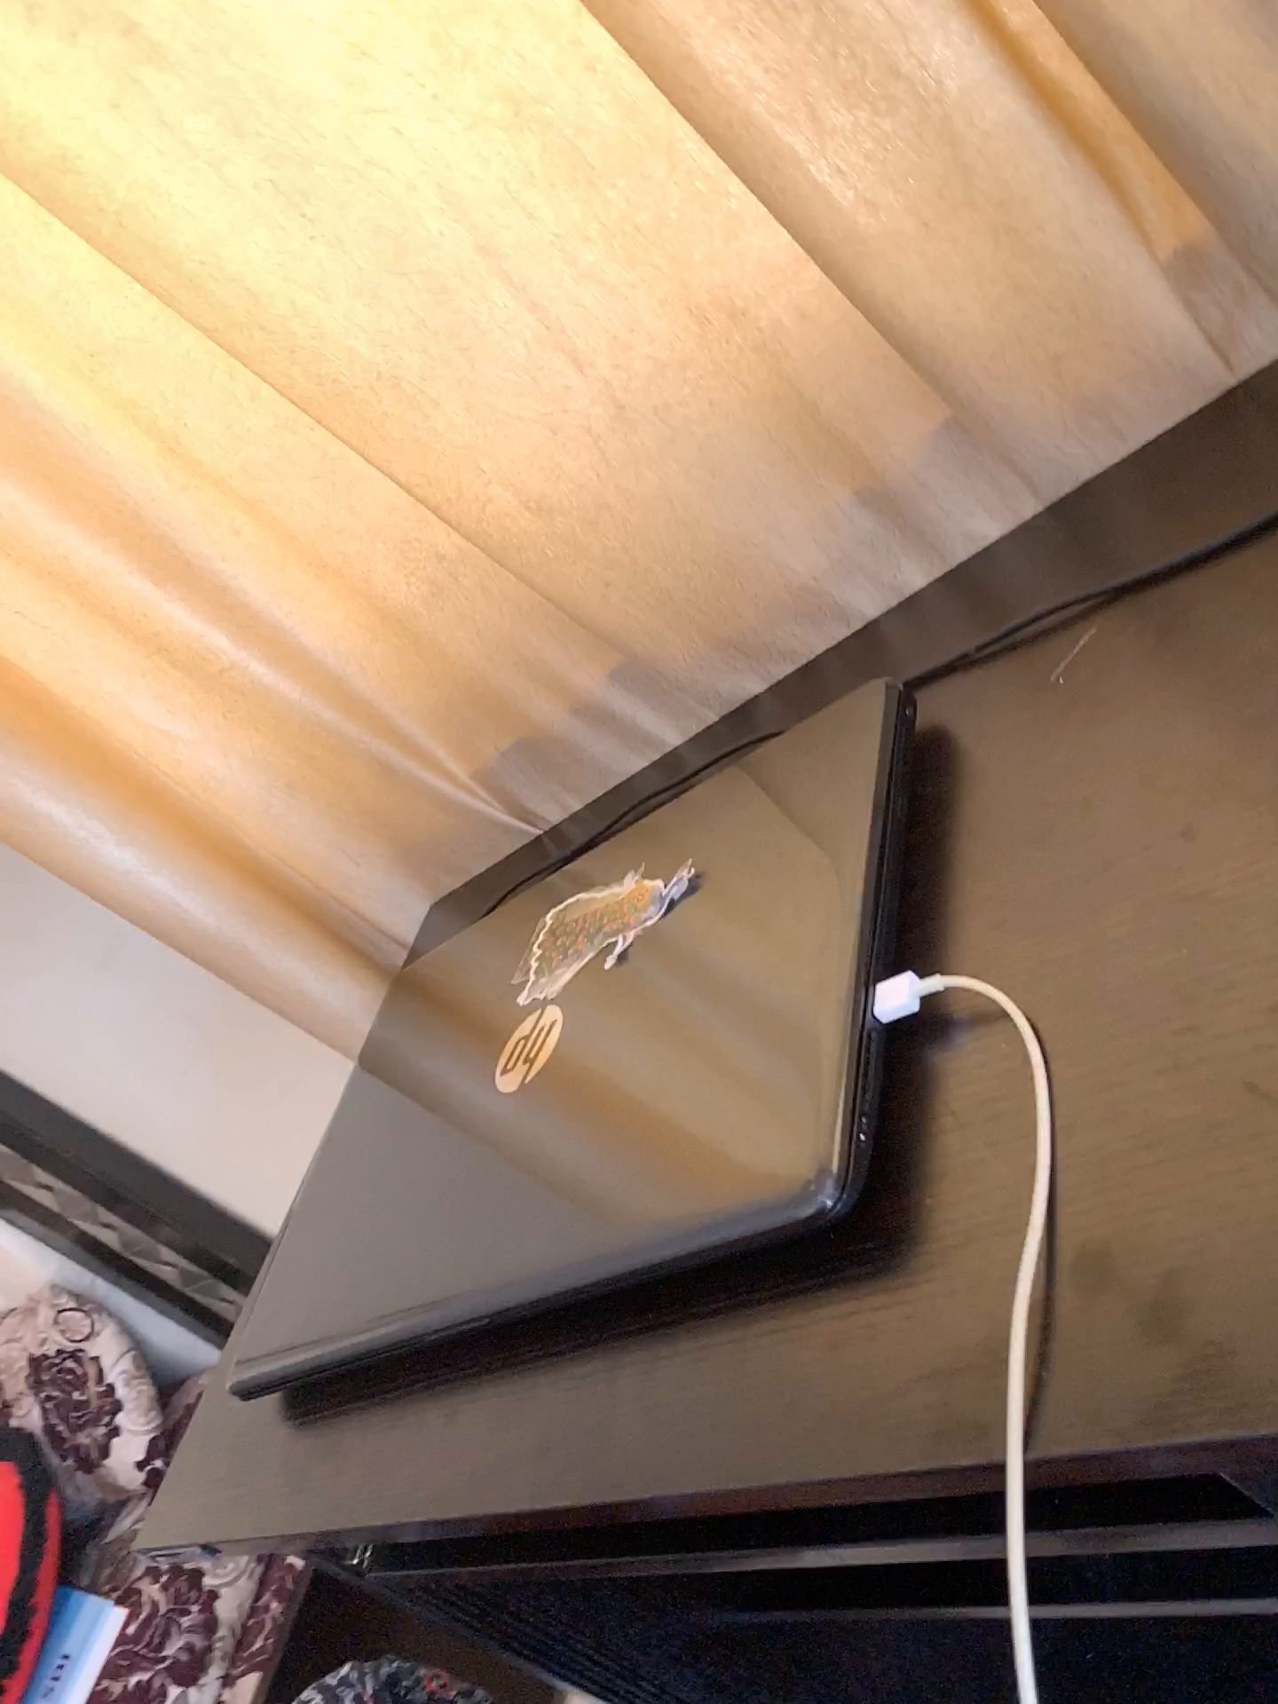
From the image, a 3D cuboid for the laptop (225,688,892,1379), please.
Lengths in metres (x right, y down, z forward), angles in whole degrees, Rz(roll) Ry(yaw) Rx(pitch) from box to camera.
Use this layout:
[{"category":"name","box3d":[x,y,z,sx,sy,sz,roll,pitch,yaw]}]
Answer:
[{"category":"laptop","box3d":[-0.046,0.091,0.579,0.374,0.006,0.238,-31,29,40]}]
